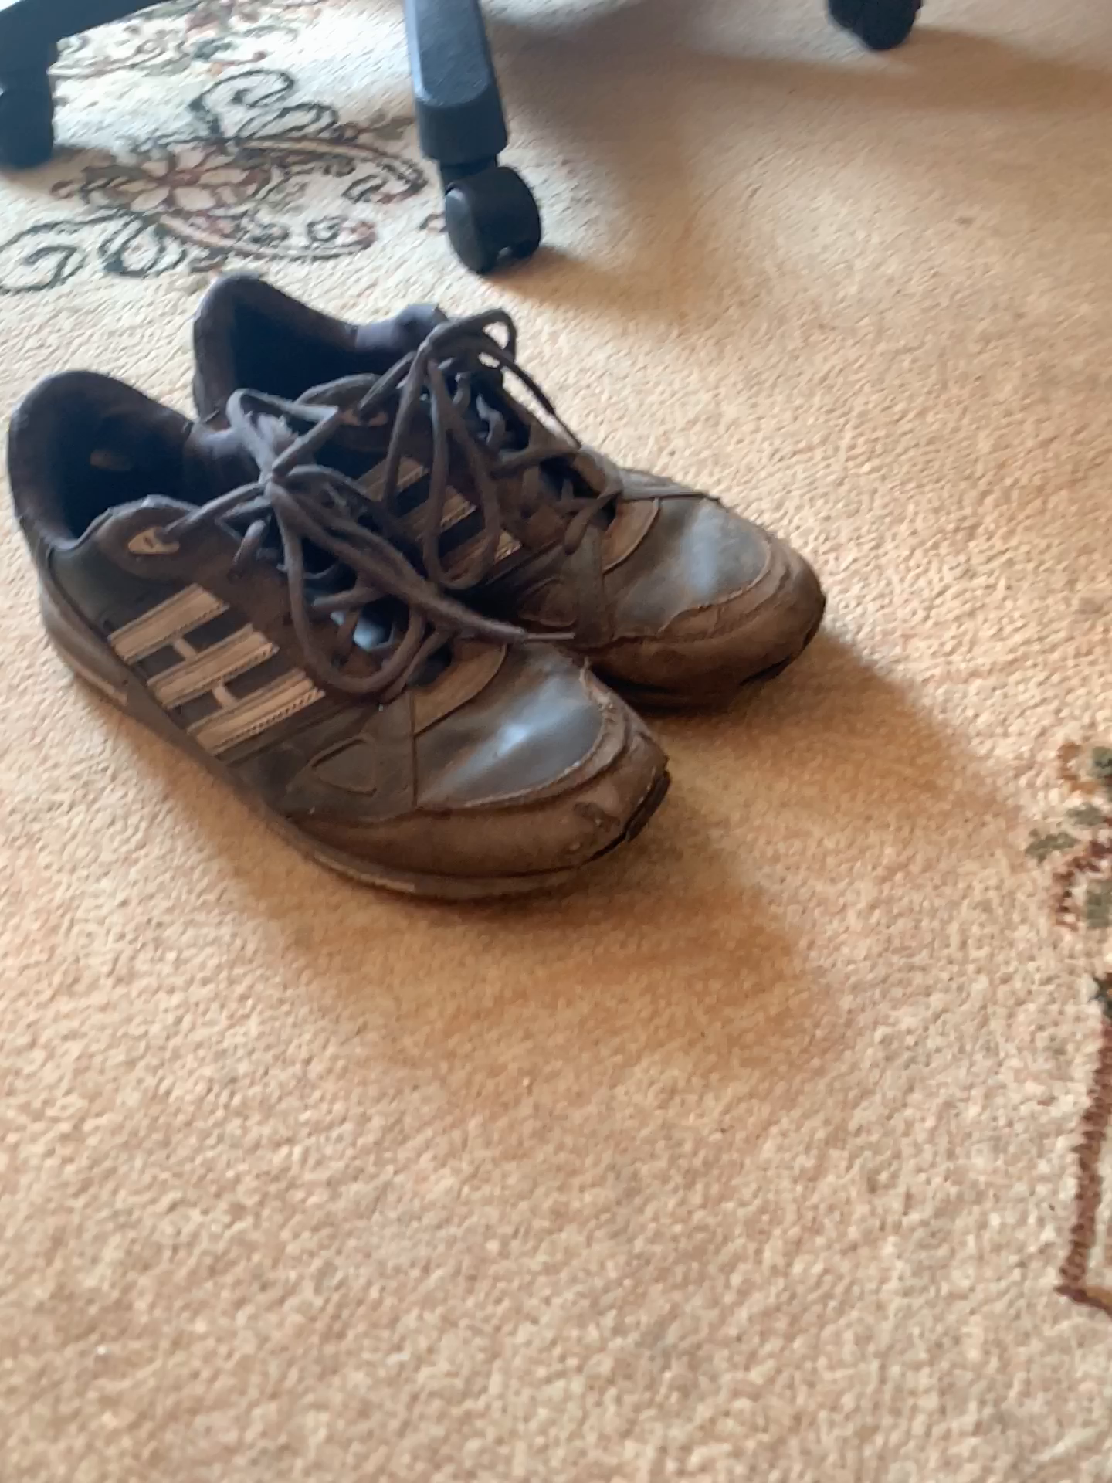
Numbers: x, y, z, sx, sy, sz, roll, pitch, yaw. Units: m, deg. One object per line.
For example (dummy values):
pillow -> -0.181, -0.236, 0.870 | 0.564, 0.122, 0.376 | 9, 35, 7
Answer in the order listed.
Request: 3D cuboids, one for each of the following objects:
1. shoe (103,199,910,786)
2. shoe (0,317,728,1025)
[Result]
shoe -> -0.029, -0.120, 0.487 | 0.311, 0.099, 0.120 | 28, 59, 24
shoe -> -0.104, -0.043, 0.428 | 0.313, 0.099, 0.117 | 28, 59, 24
